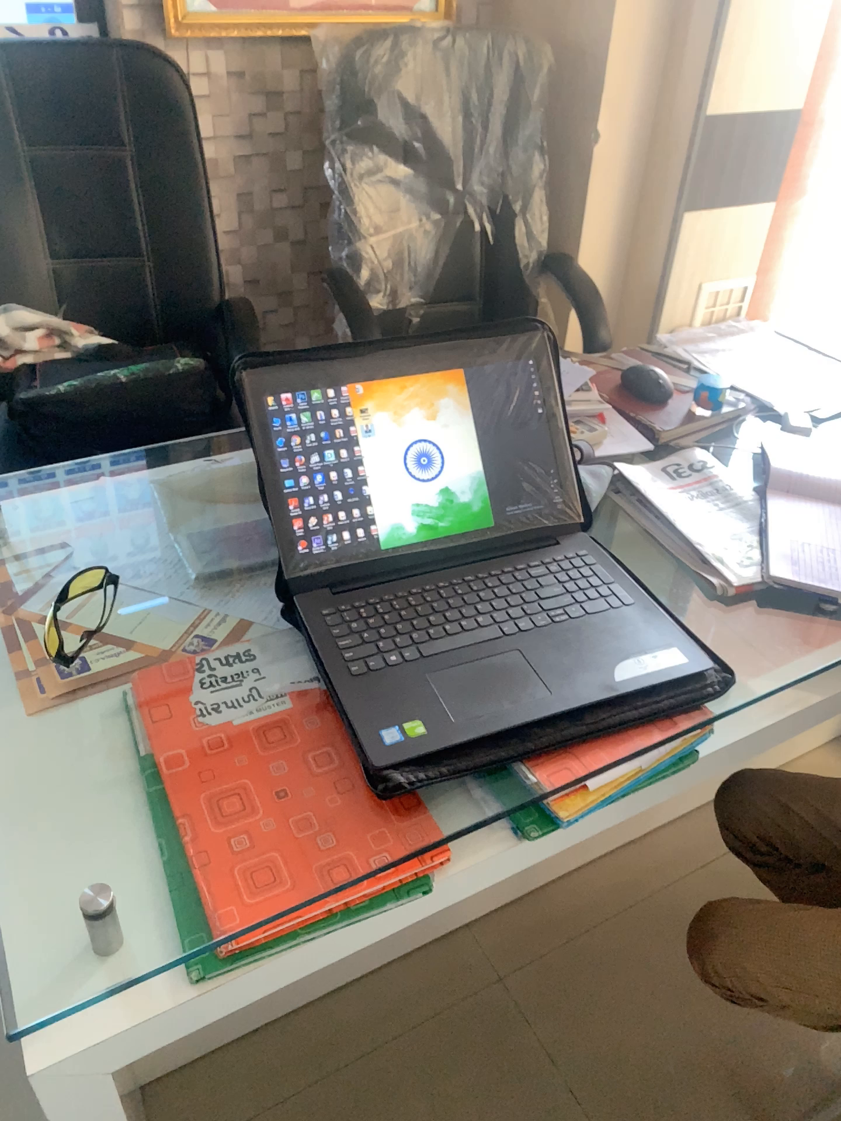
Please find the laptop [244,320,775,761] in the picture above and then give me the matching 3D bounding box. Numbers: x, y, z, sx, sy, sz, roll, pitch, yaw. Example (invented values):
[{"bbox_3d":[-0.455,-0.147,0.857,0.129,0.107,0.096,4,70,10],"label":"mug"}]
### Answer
[{"bbox_3d":[0.048,-0.056,0.826,0.334,0.175,0.392,-12,39,-19],"label":"laptop"}]
